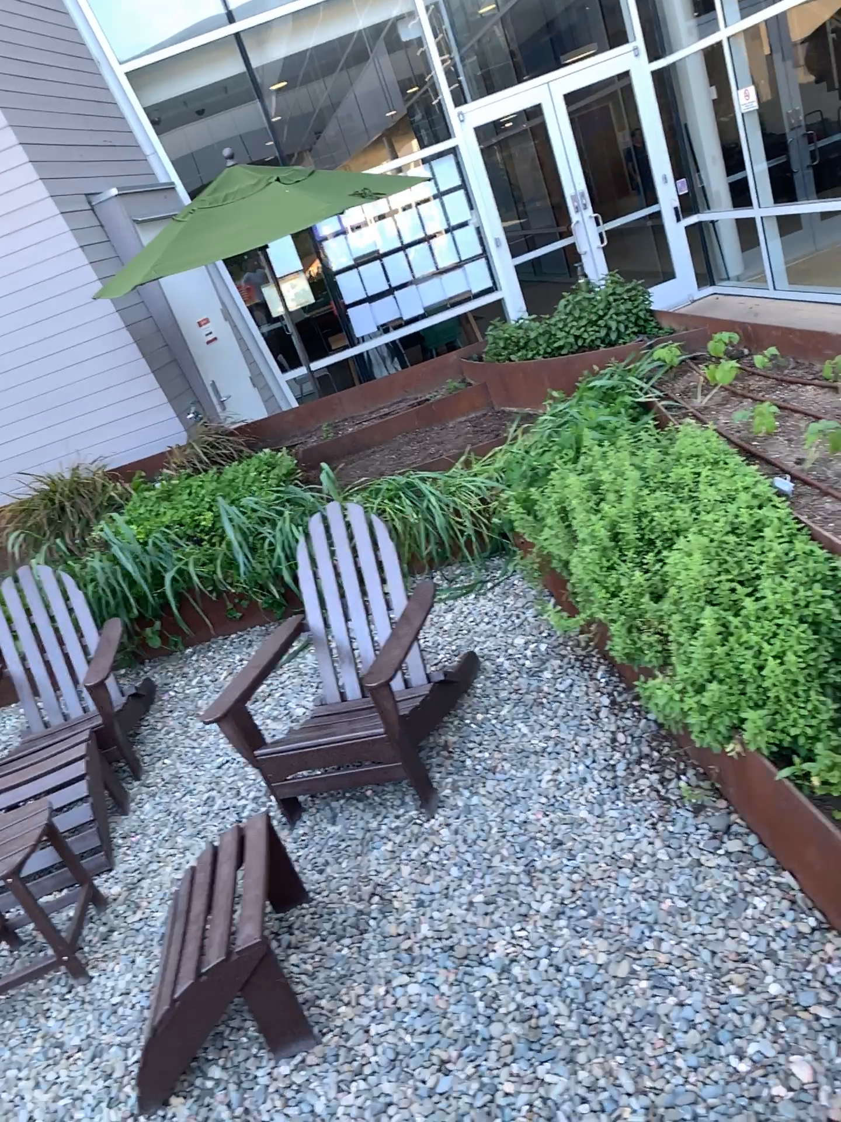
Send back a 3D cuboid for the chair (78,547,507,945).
[{"bbox_3d":[-0.437,0.662,3.383,1.003,0.995,1.002,-6,26,34],"label":"chair"}]
